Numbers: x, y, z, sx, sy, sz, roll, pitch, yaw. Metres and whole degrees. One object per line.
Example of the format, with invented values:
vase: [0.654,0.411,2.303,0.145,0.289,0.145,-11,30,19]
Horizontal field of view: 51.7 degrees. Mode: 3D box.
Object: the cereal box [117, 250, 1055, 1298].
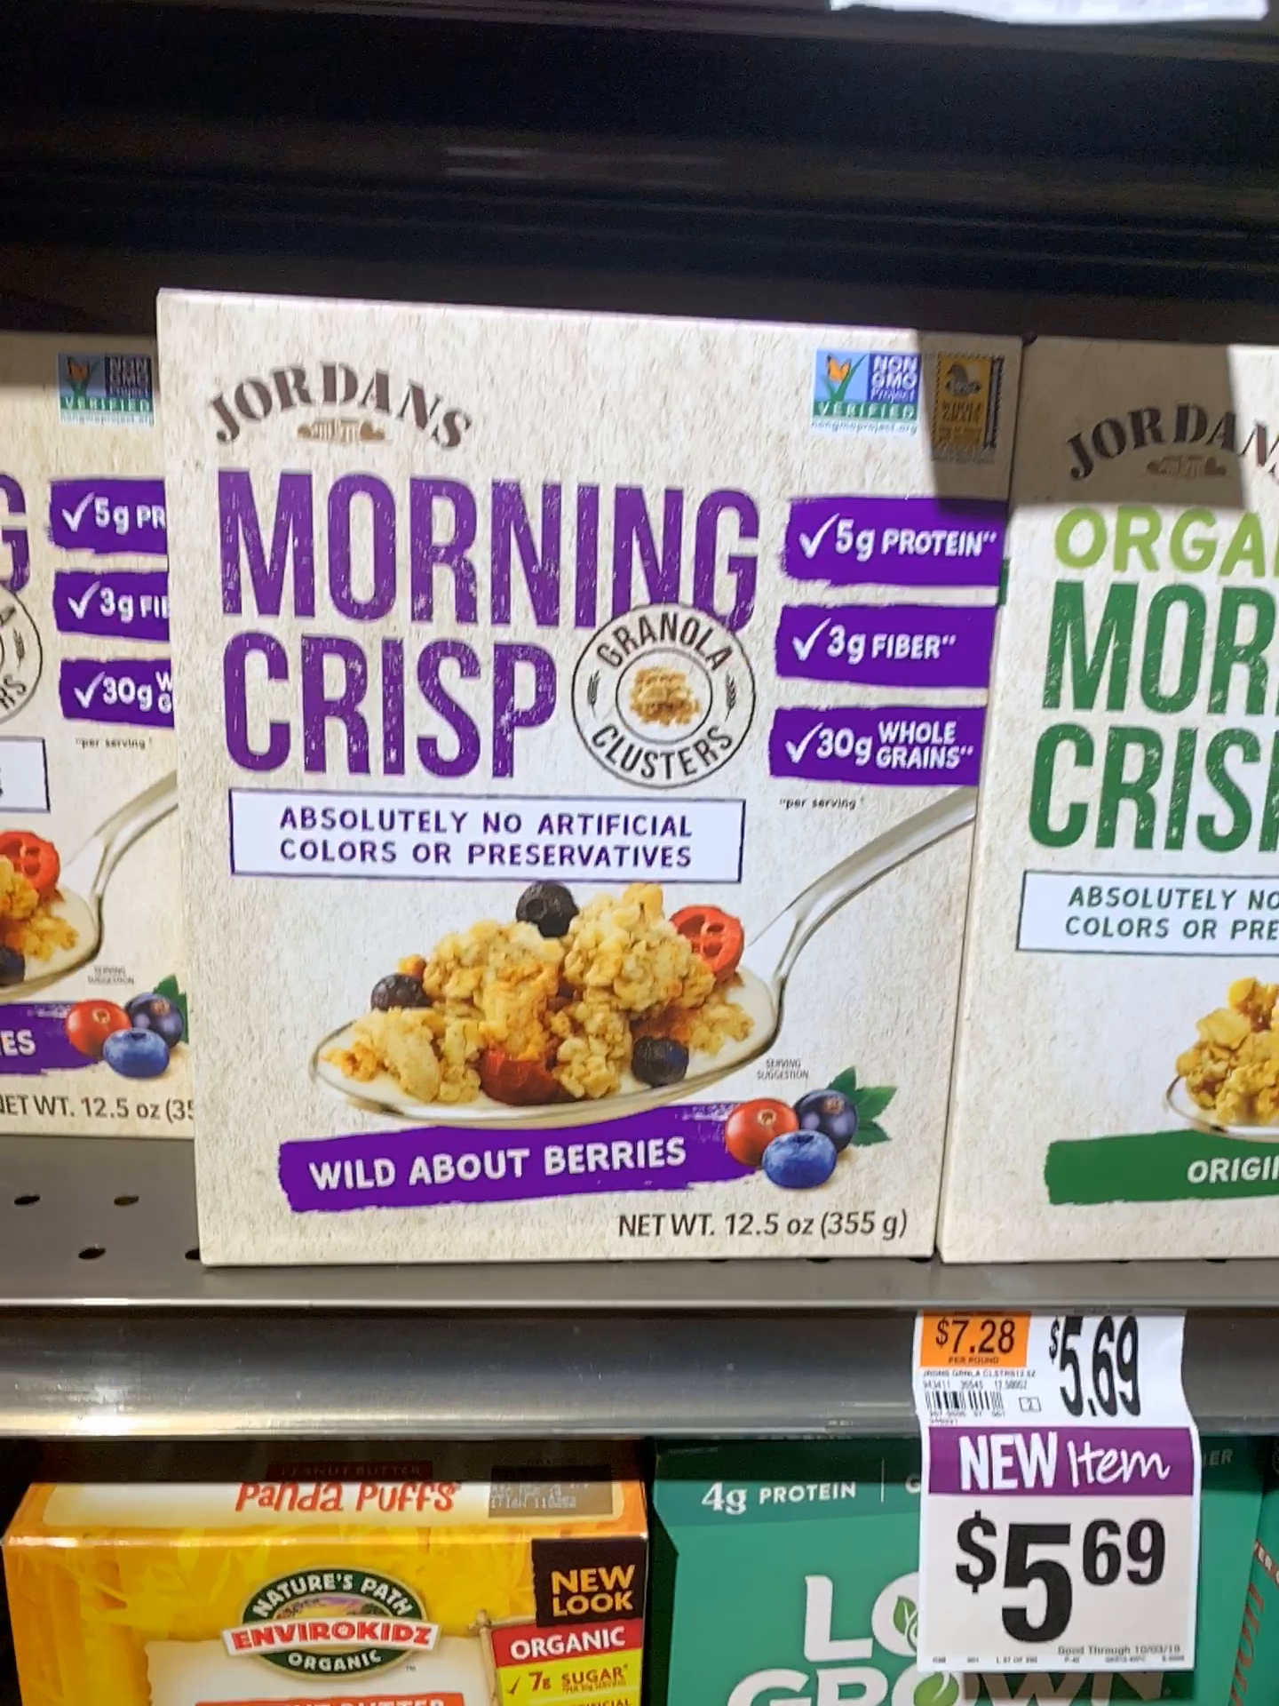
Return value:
cereal box: [-0.013,-0.013,0.308,0.180,0.219,0.060,1,14,-5]
